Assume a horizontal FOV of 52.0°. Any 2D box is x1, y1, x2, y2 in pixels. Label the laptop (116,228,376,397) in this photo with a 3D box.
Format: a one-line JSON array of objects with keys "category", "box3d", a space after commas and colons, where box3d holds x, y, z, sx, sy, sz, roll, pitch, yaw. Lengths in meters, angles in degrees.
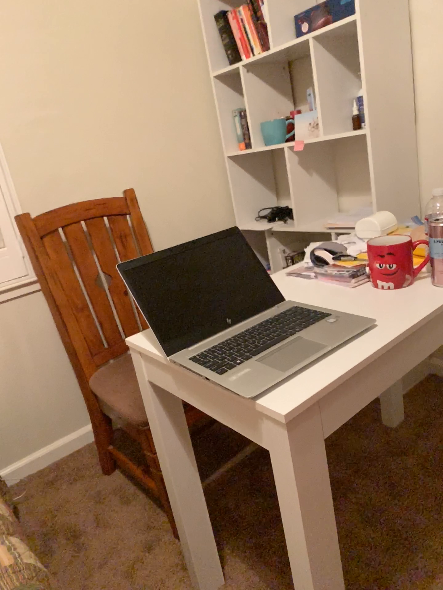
[{"category": "laptop", "box3d": [0.036, -0.006, 0.856, 0.311, 0.159, 0.365, -22, 21, -33]}]
